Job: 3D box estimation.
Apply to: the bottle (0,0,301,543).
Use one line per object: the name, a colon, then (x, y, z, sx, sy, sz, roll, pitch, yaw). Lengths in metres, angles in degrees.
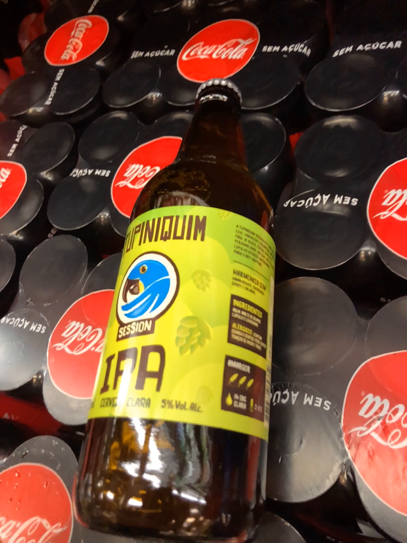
bottle: (-0.005, -0.016, 0.216, 0.090, 0.070, 0.261, -4, 62, 20)
